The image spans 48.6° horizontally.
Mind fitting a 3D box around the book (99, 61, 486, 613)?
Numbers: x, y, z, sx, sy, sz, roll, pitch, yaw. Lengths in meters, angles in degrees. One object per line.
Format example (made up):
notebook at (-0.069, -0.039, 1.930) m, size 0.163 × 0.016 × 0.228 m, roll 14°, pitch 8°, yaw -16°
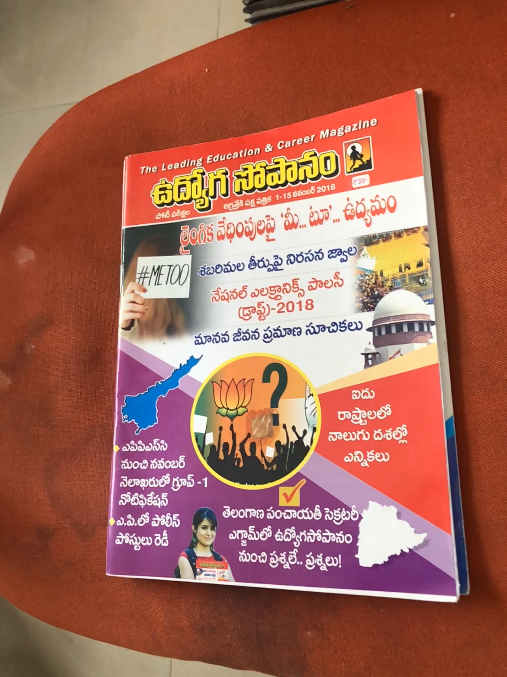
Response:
book at (0.012, -0.003, 0.351) m, size 0.217 × 0.040 × 0.295 m, roll -6°, pitch 76°, yaw 23°
